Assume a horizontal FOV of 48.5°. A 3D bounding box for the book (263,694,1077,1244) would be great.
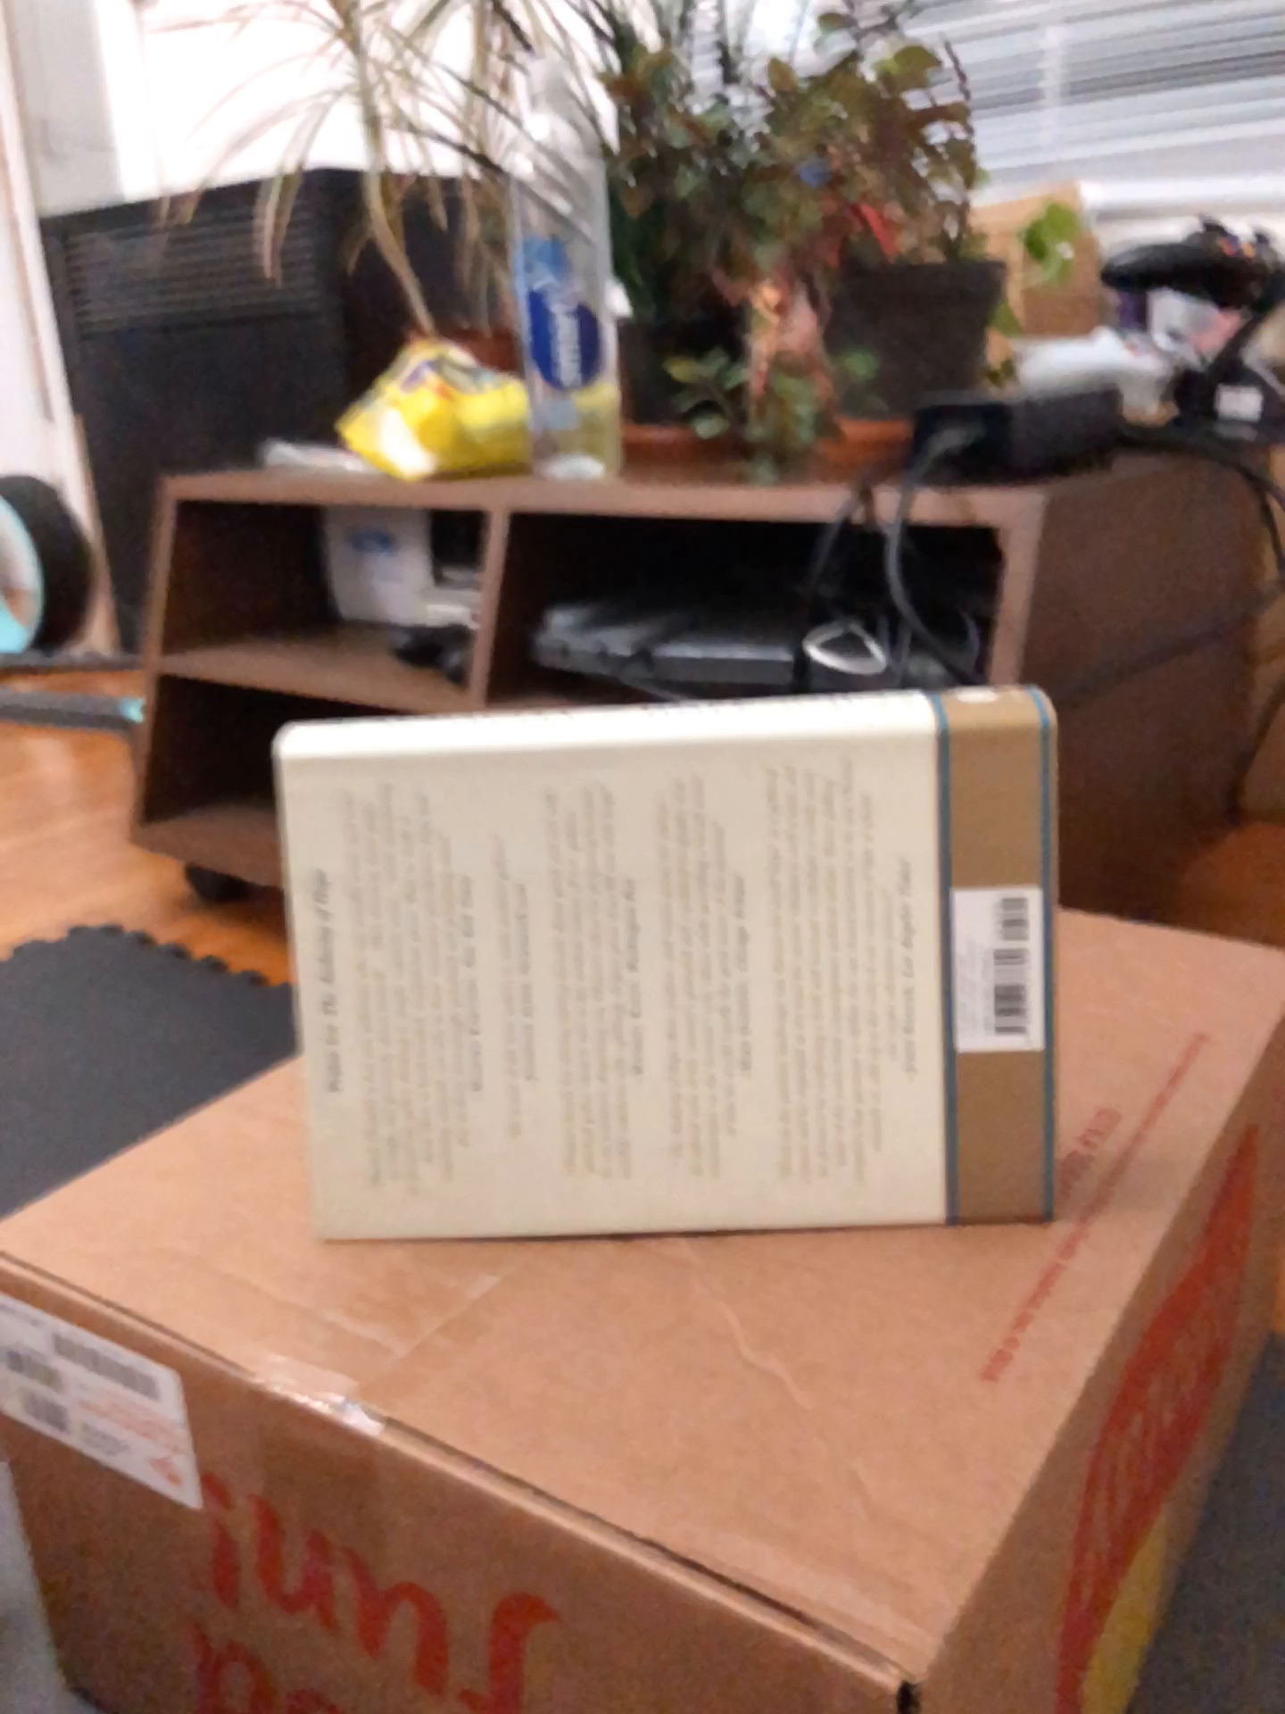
[{"bbox_3d":[0.011,0.035,0.480,0.250,0.170,0.060,-1,8,2],"label":"book"}]
